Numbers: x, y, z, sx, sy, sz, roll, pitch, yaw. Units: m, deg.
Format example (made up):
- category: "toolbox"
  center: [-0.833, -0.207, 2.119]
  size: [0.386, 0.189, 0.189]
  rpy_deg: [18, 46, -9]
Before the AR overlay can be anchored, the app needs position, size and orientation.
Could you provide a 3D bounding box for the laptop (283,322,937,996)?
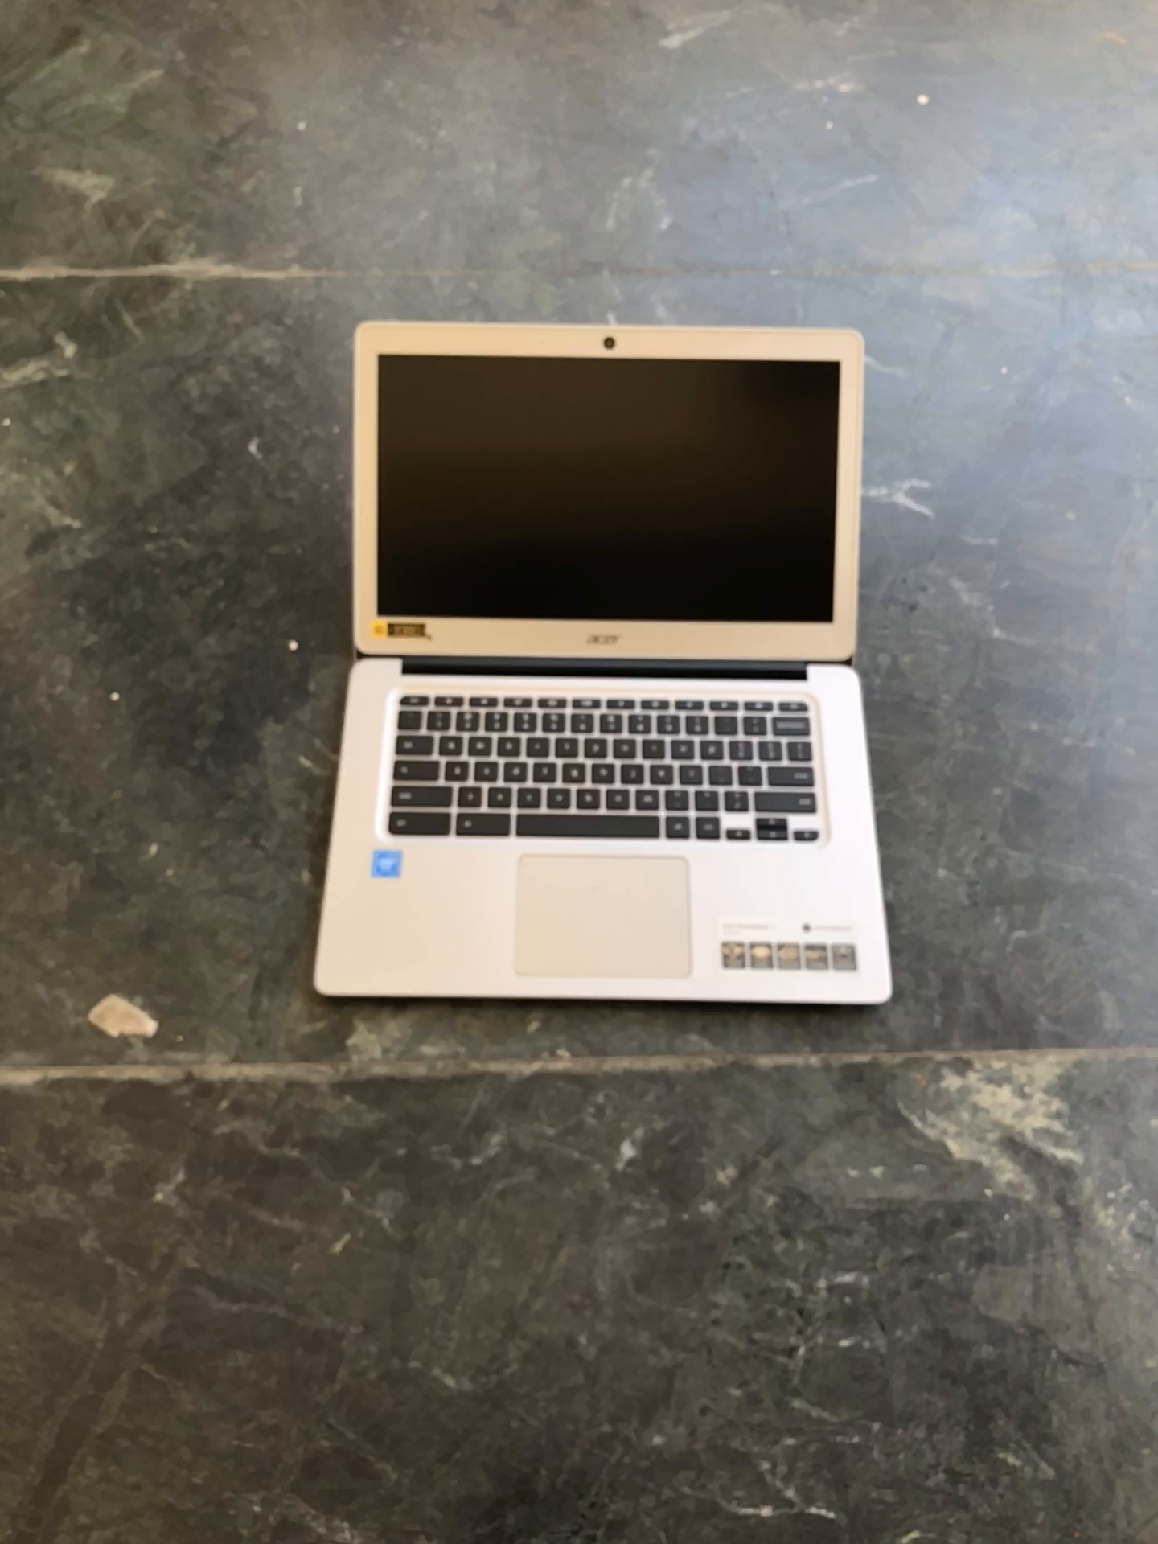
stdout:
- category: "laptop"
  center: [0.018, -0.084, 0.814]
  size: [0.338, 0.117, 0.425]
  rpy_deg: [1, 62, 0]
